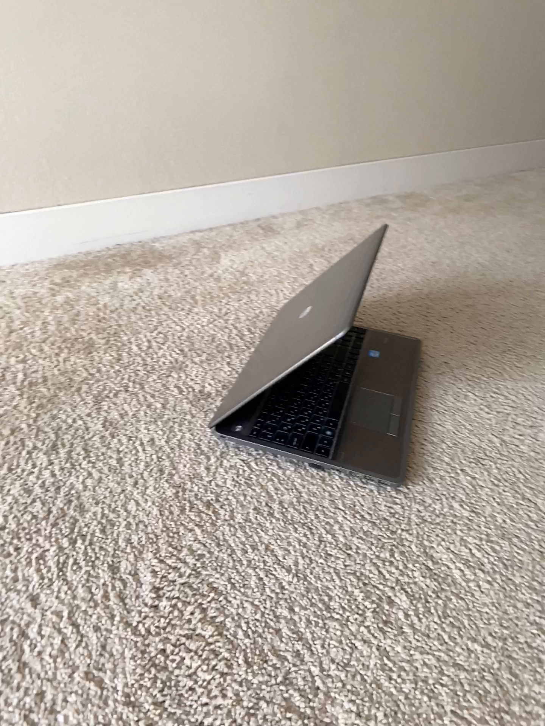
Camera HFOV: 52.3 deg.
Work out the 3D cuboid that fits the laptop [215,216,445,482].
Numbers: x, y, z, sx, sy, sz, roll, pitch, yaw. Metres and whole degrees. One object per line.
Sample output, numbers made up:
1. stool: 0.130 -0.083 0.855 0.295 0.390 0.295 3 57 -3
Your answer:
1. laptop: 0.101 -0.051 0.813 0.253 0.186 0.370 12 33 11
